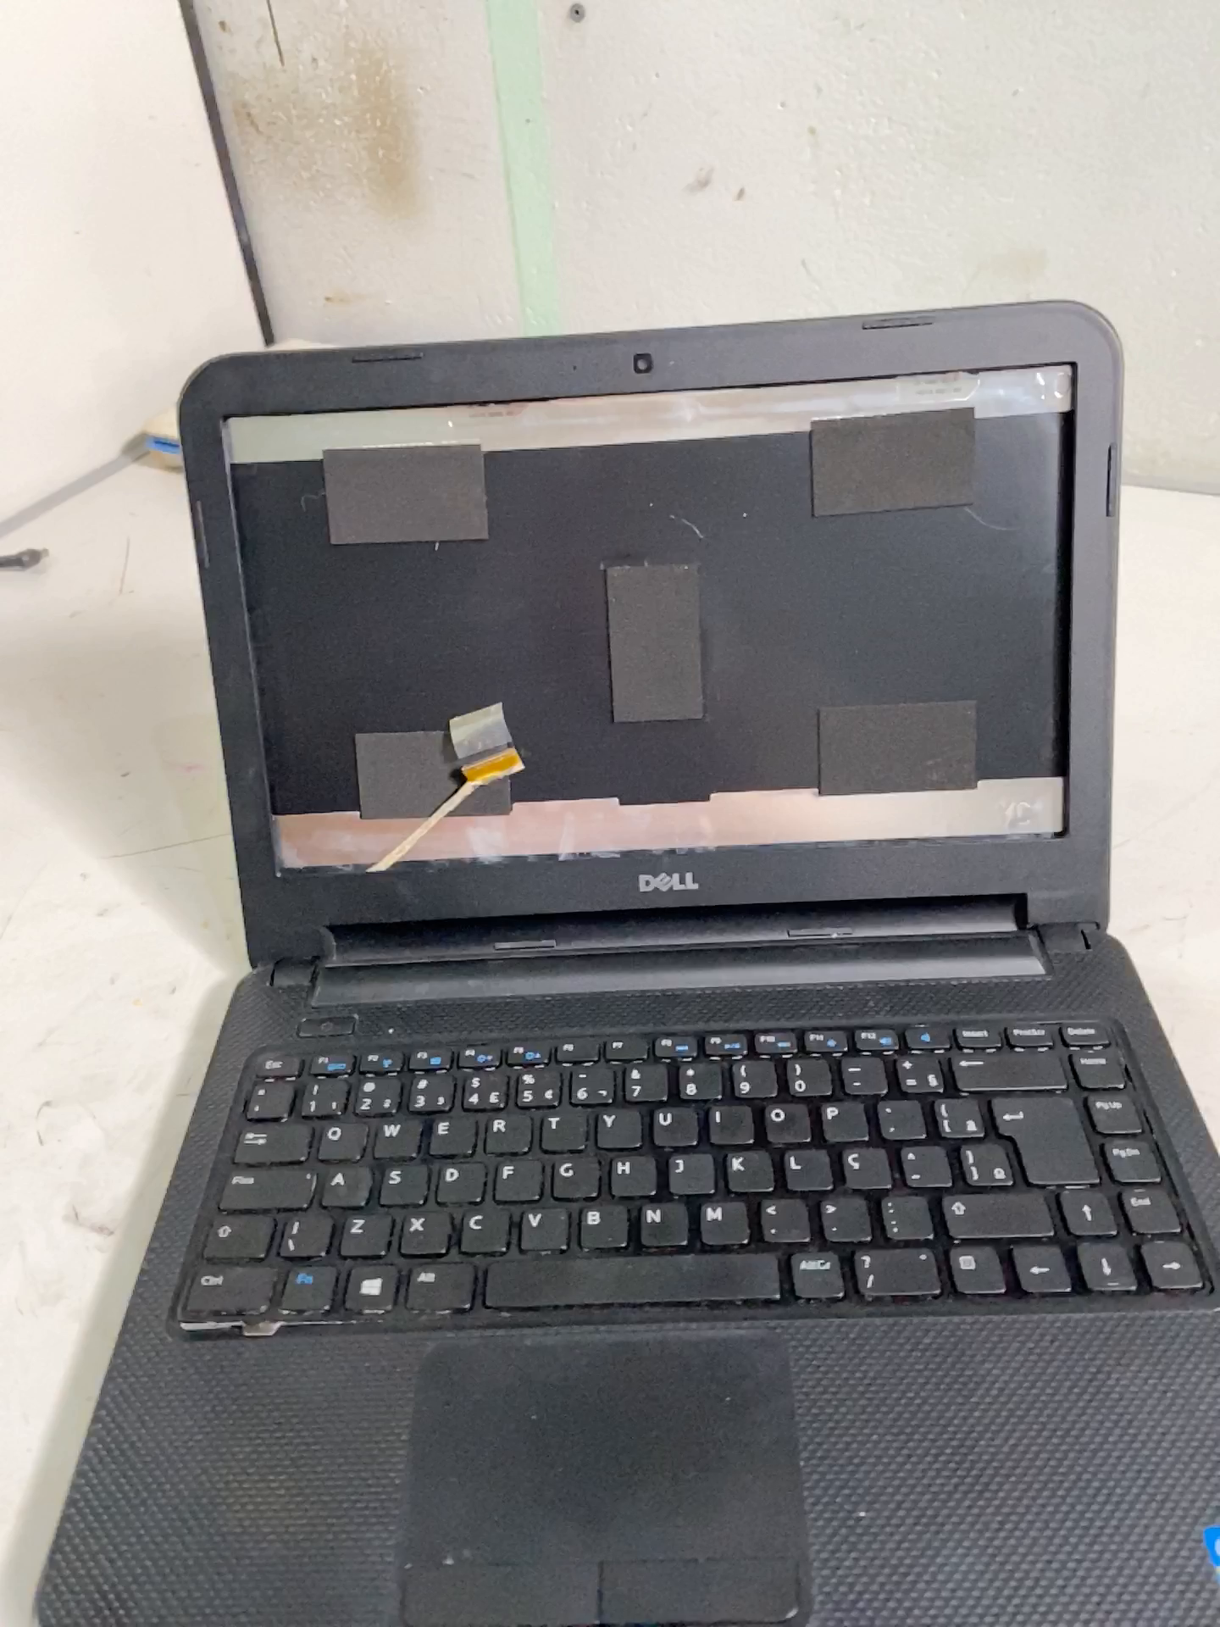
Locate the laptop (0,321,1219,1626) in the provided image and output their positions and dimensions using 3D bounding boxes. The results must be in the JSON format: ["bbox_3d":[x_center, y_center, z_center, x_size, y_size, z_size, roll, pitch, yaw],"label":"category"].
[{"bbox_3d":[0.018,0.018,0.368,0.319,0.193,0.337,-3,38,3],"label":"laptop"}]
